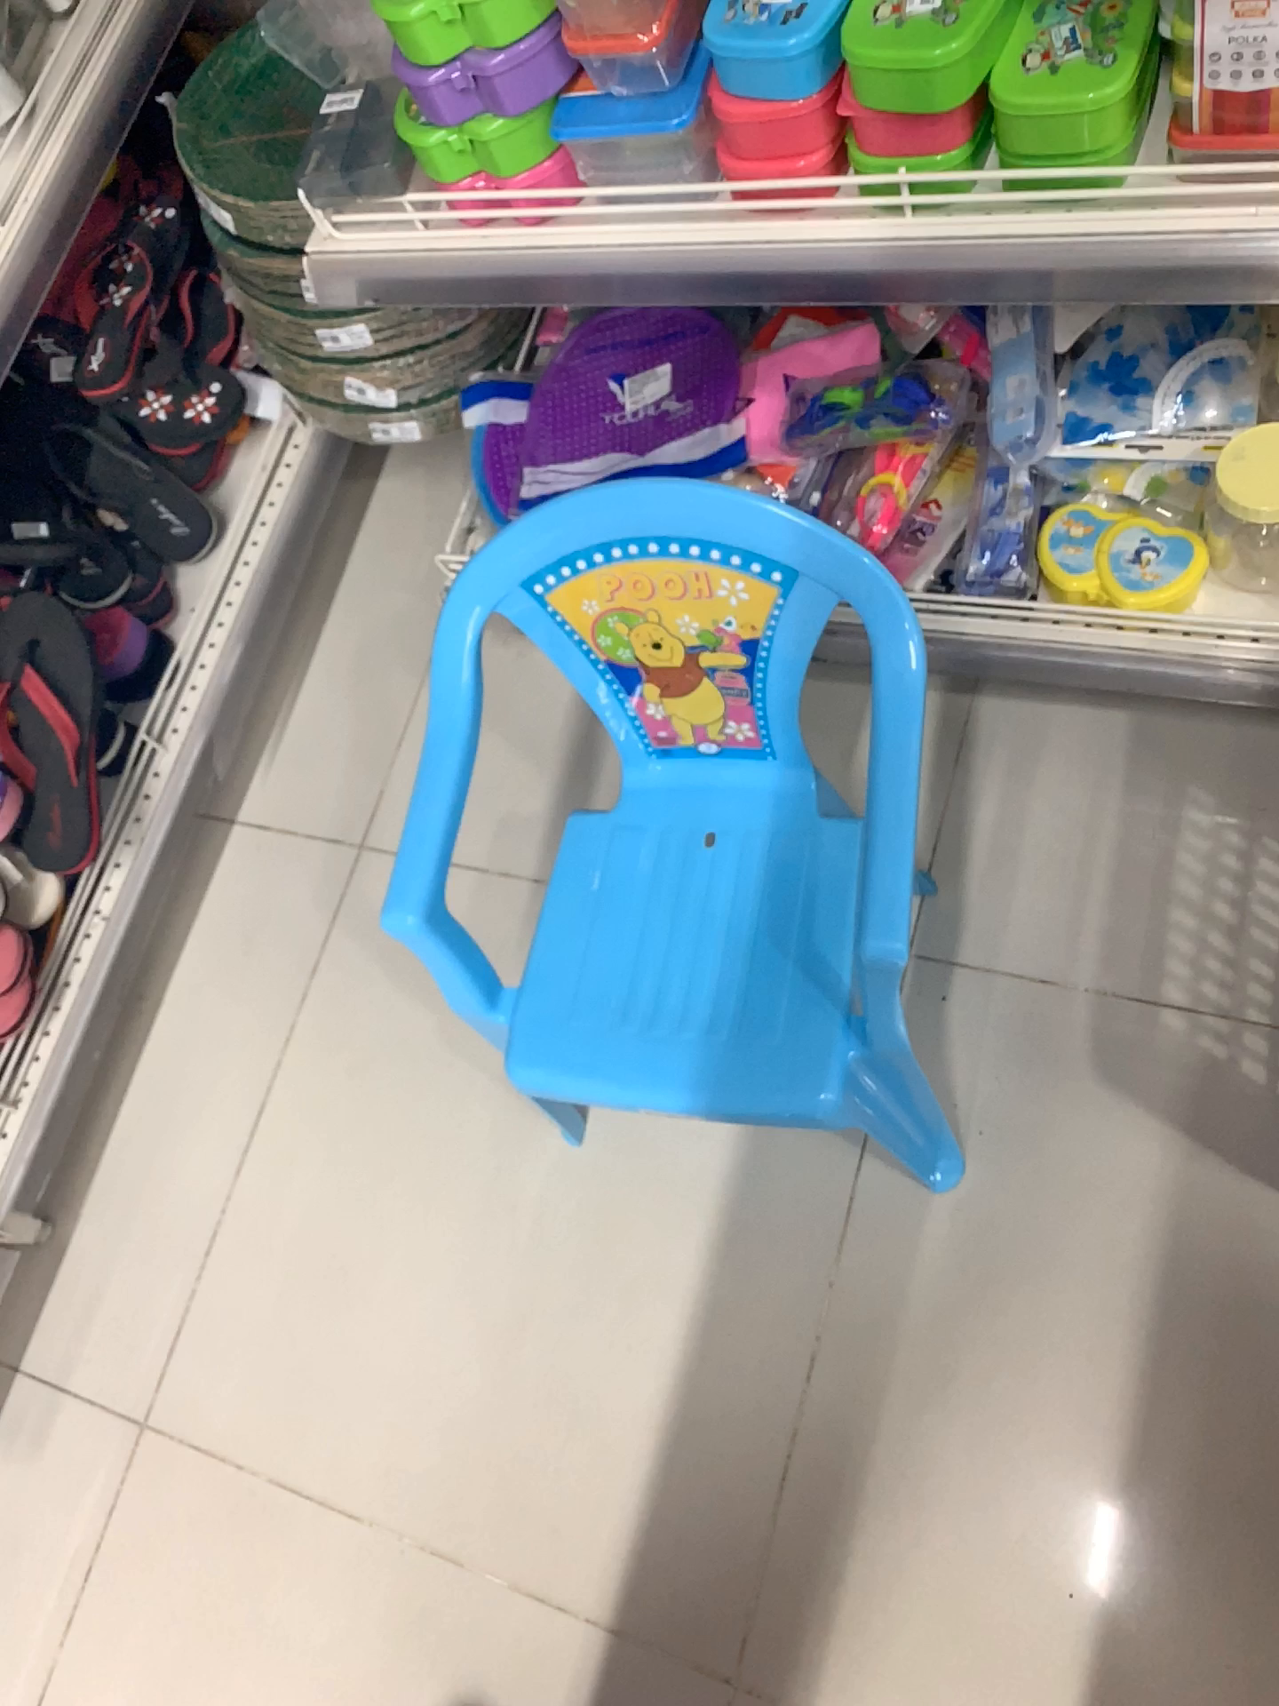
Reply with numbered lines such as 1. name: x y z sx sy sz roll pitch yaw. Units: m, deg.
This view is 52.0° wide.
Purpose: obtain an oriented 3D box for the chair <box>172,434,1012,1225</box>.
1. chair: 0.034 0.030 0.927 0.391 0.509 0.350 1 69 21
